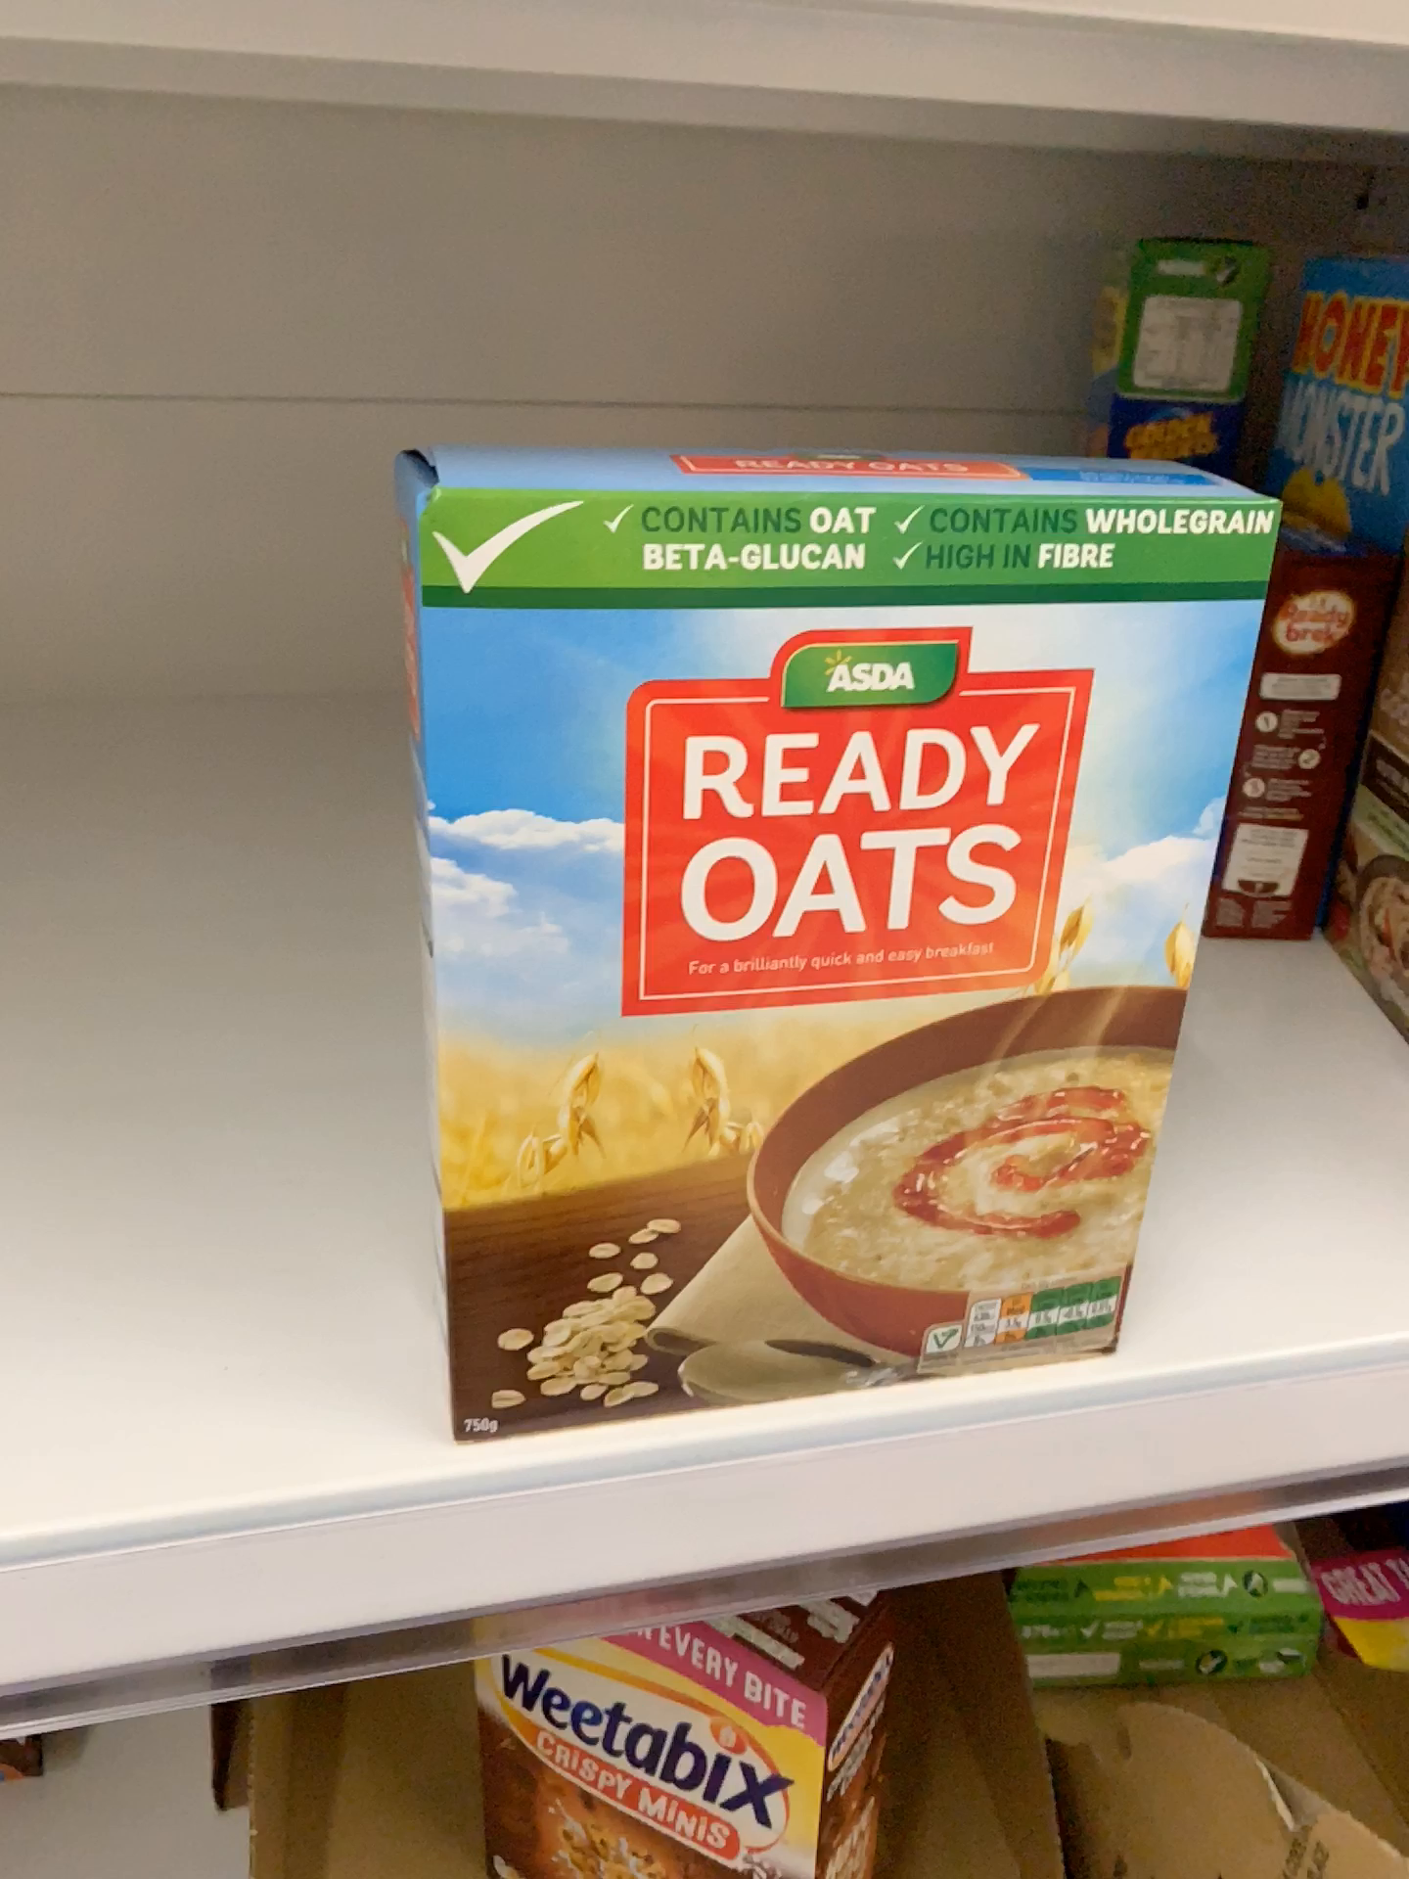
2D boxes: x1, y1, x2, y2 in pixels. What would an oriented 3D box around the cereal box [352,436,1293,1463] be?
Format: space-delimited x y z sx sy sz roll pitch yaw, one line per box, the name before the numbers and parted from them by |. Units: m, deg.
cereal box | 0.020 0.004 0.397 0.210 0.258 0.071 -4 26 -13
